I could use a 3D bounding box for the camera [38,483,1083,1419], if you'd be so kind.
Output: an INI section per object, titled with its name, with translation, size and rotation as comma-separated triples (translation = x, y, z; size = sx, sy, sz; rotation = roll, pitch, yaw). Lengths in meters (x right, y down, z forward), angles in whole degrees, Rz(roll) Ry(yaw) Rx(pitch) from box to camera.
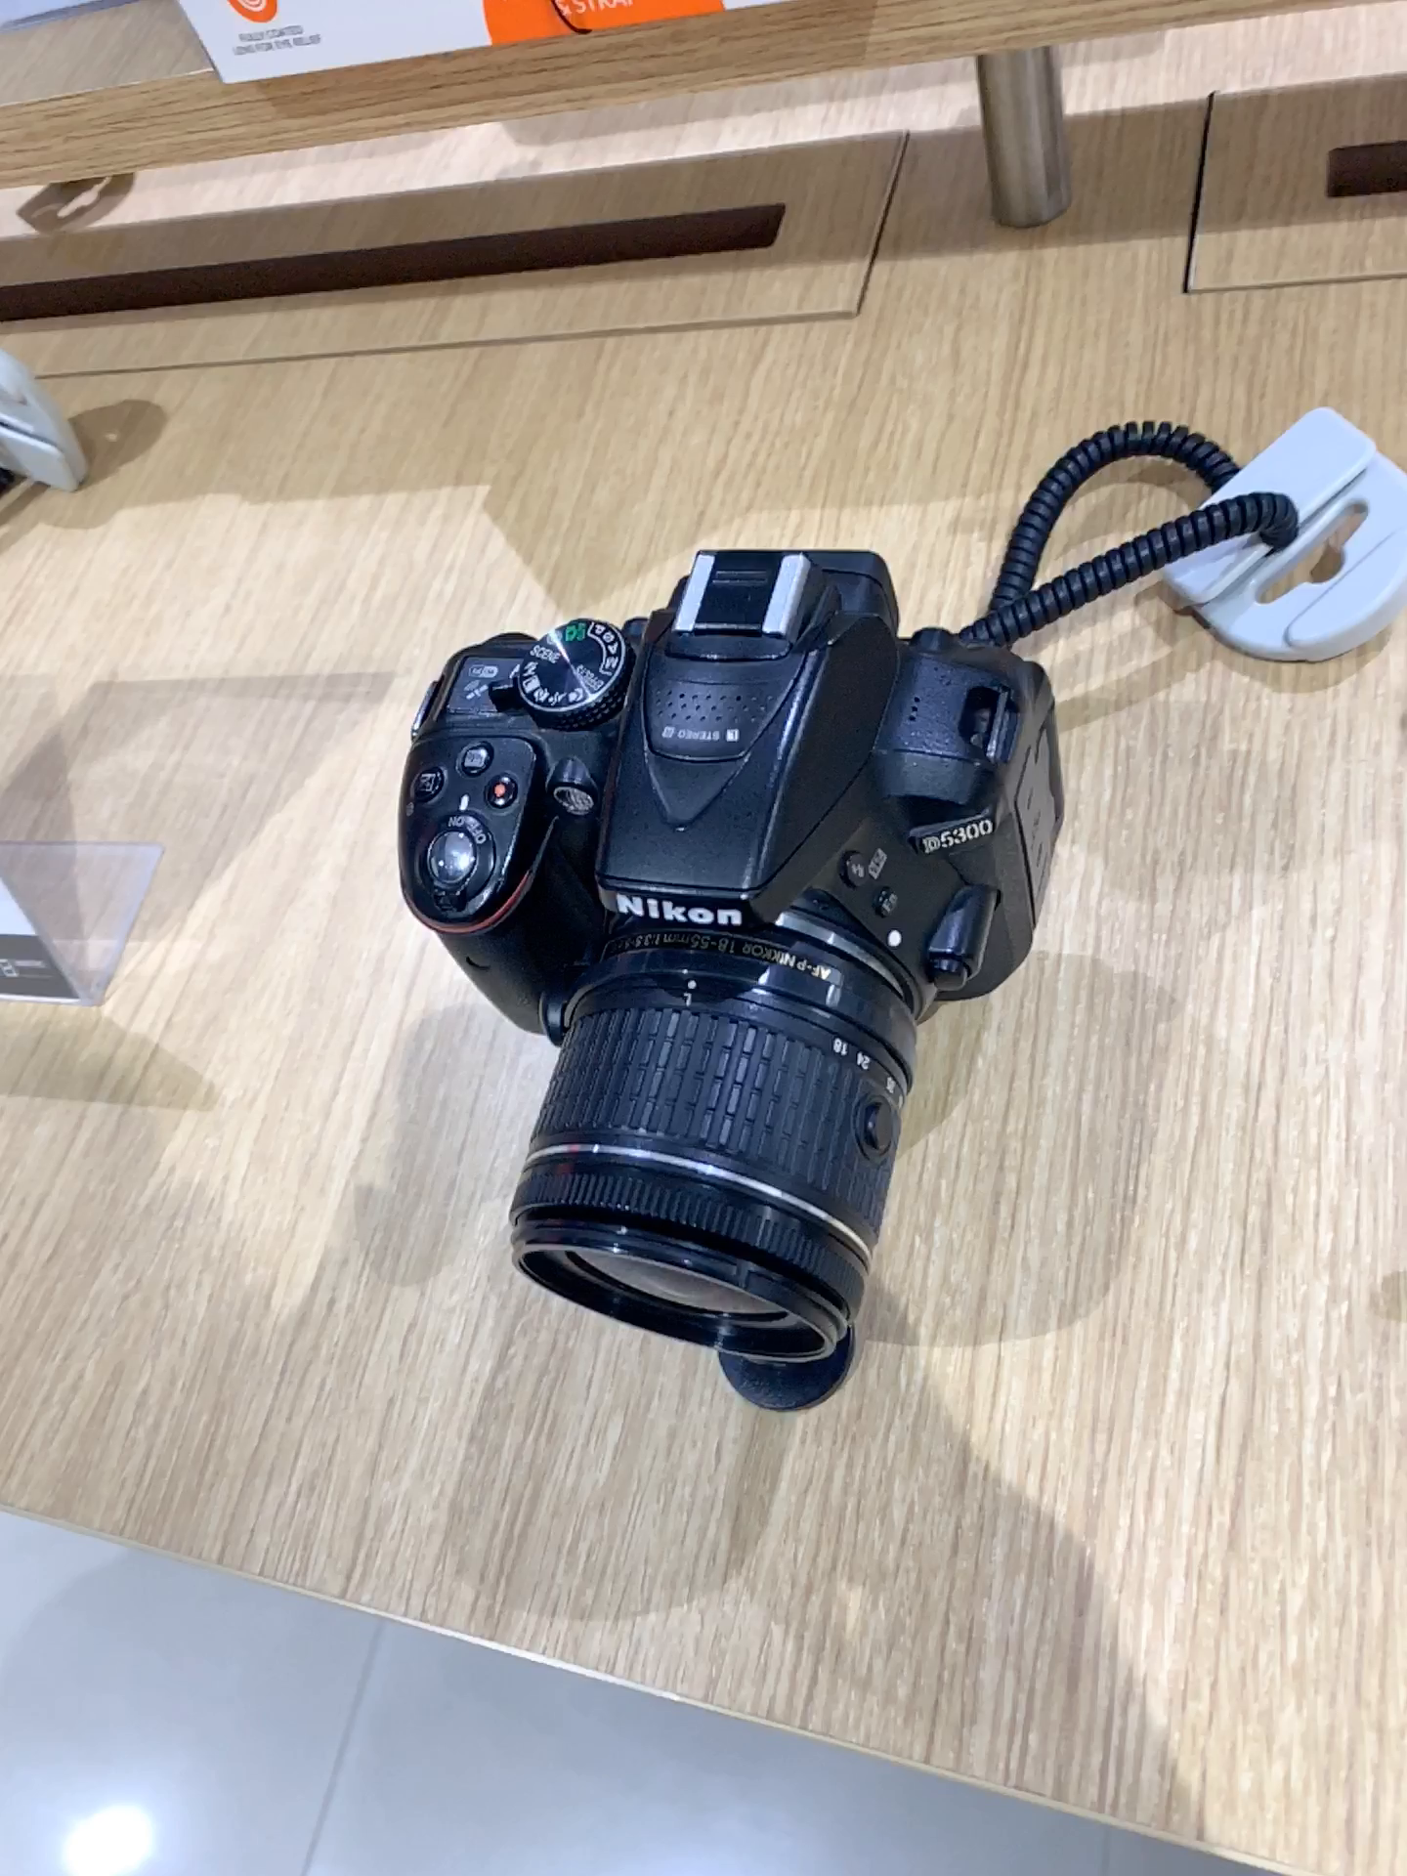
[camera]
translation = -0.011, 0.001, 0.244
size = 0.130, 0.080, 0.120
rotation = 3, 62, 20
